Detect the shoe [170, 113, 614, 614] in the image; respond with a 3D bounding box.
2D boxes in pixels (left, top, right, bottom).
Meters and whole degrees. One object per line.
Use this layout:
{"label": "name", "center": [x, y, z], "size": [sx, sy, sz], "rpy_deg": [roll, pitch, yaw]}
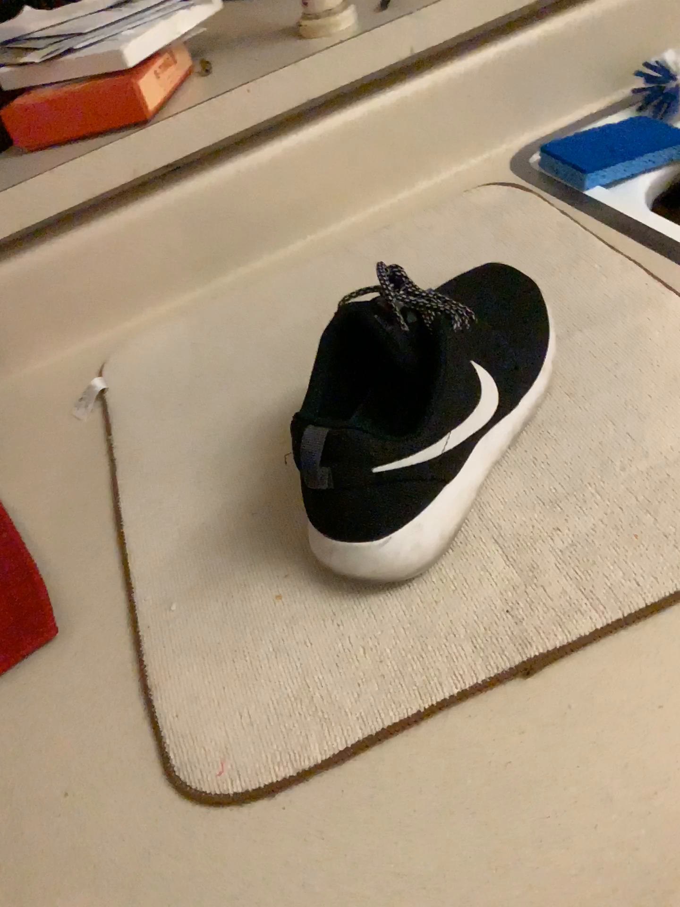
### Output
{"label": "shoe", "center": [0.055, -0.072, 0.442], "size": [0.130, 0.120, 0.280], "rpy_deg": [12, 52, 29]}
